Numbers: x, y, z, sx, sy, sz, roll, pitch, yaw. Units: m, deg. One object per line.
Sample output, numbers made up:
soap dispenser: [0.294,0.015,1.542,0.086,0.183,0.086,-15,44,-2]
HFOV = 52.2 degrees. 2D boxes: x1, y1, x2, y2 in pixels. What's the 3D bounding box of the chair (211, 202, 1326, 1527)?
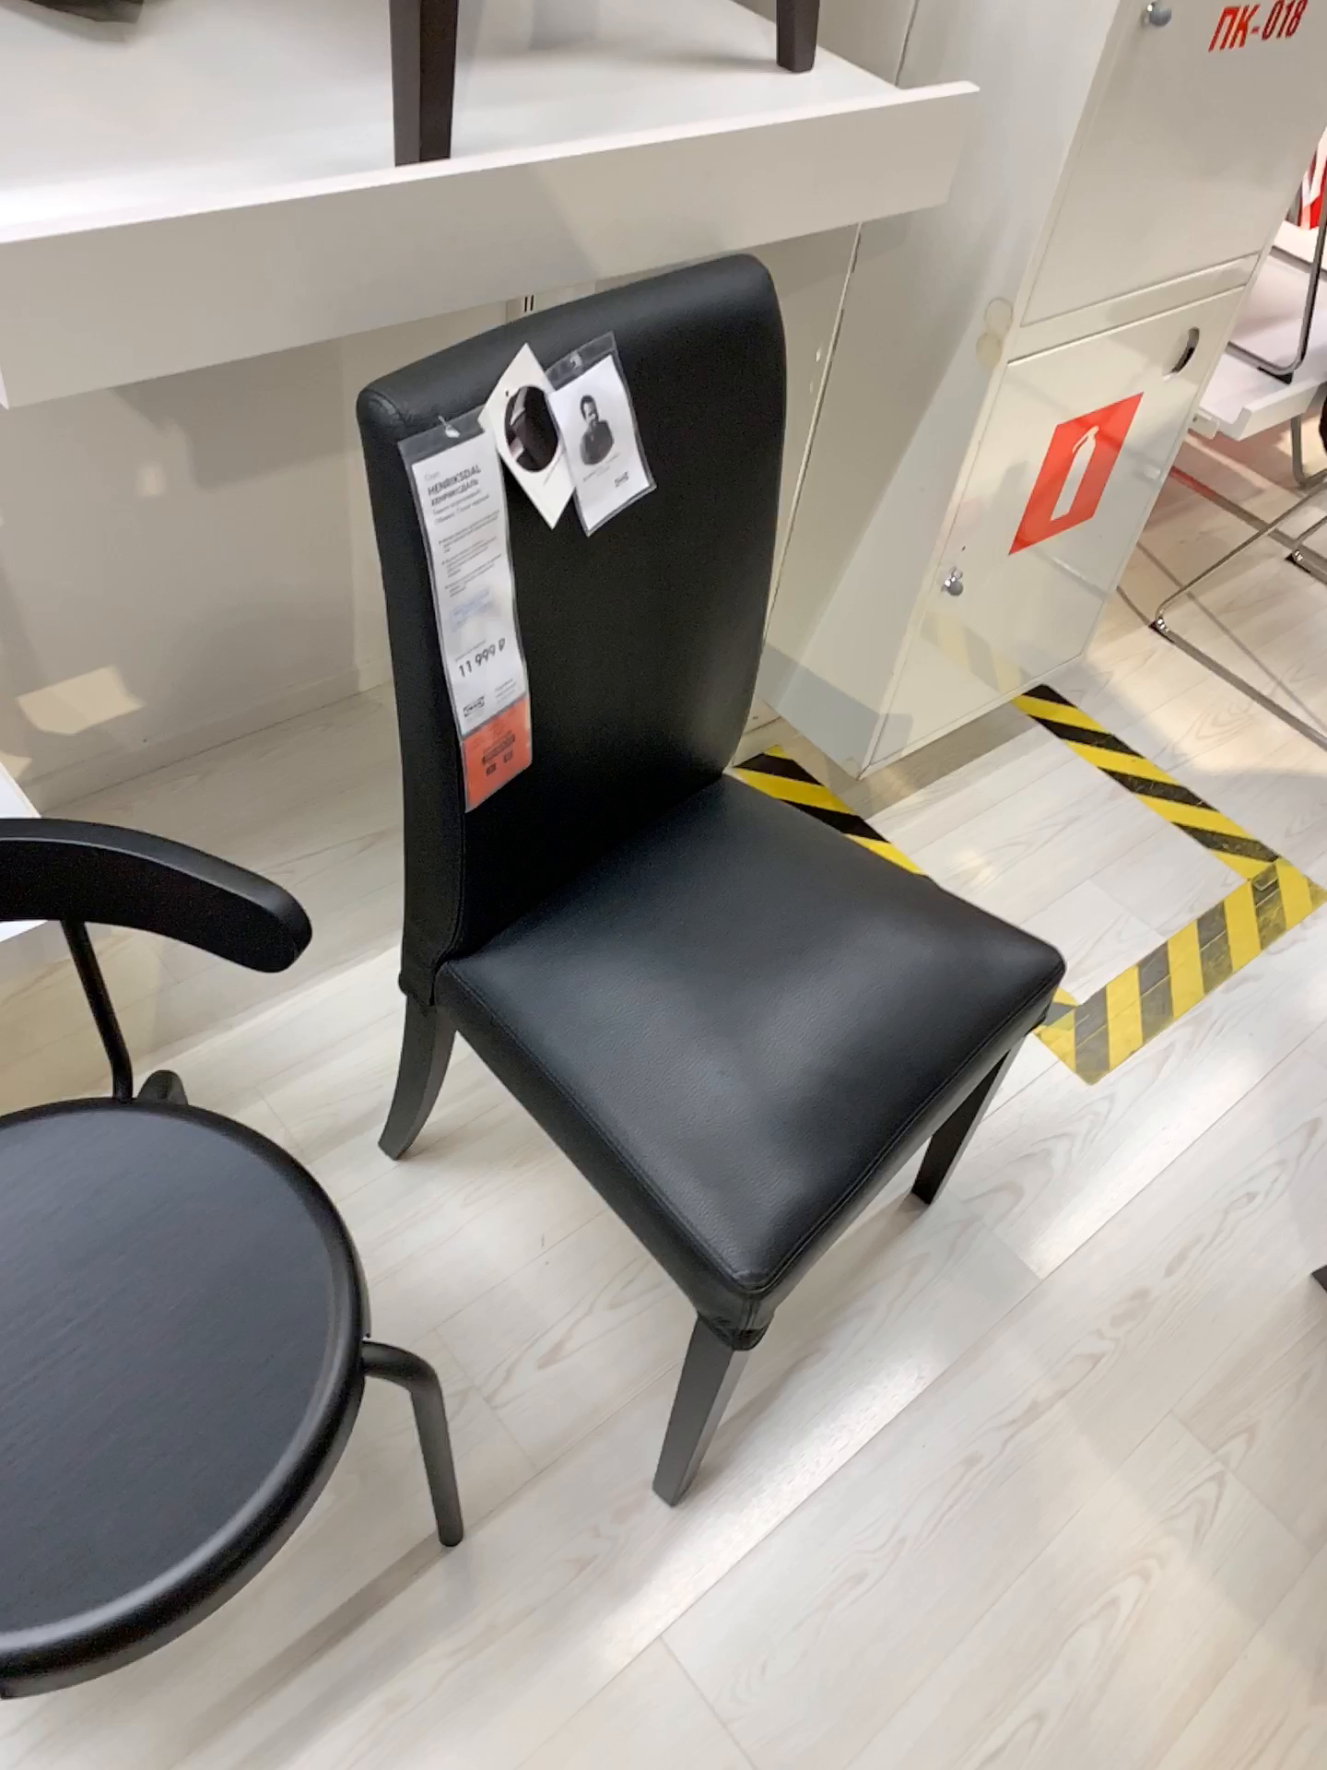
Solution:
chair: [0.044,0.015,1.306,0.600,0.975,0.582,36,51,21]
